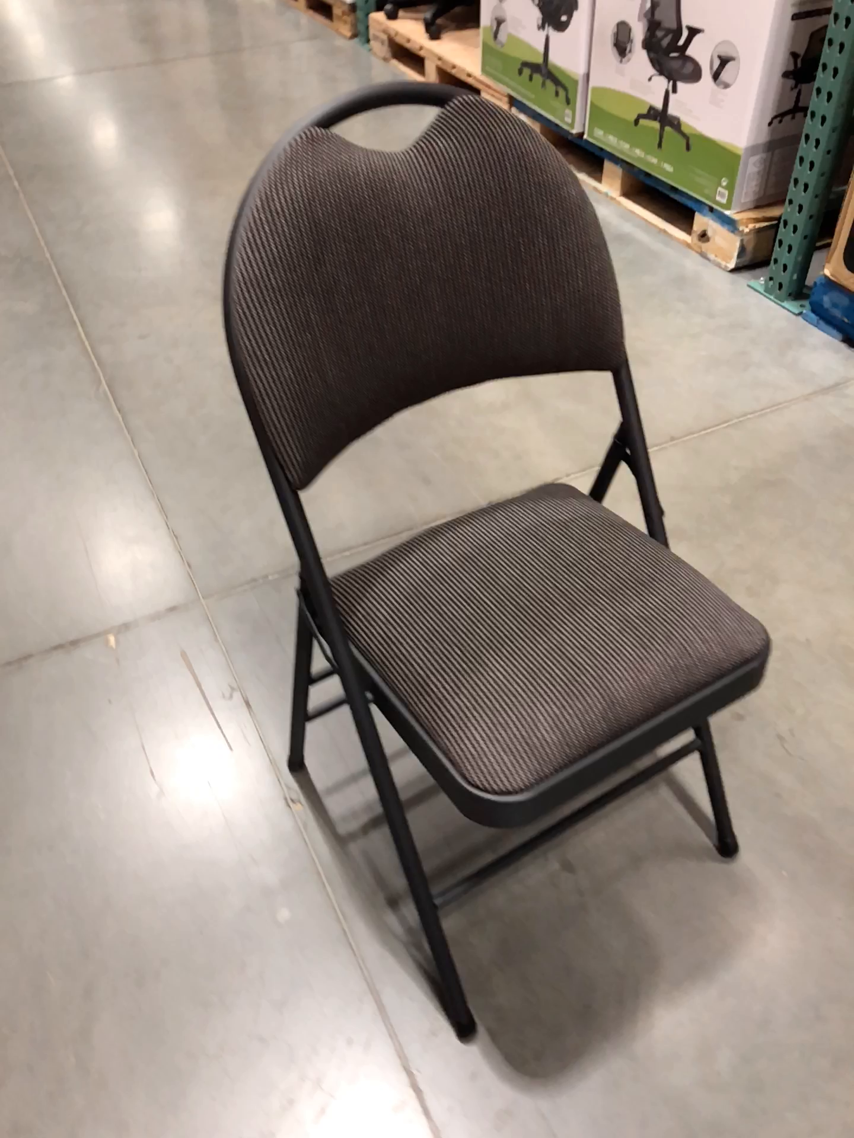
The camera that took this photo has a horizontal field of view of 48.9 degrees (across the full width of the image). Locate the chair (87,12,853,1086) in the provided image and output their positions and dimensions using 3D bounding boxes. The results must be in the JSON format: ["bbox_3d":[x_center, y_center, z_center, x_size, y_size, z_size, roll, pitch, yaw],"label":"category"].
[{"bbox_3d":[0.084,-0.009,1.001,0.520,0.866,0.562,-22,46,-21],"label":"chair"}]
